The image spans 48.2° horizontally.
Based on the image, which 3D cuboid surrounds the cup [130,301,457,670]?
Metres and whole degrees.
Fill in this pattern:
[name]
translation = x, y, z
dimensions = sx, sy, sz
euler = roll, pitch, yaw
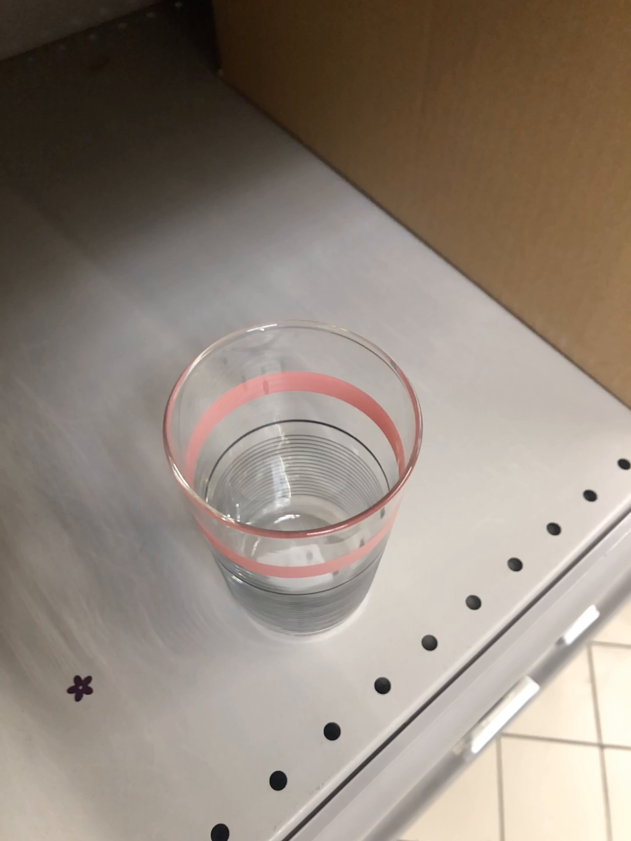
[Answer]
[cup]
translation = -0.009, 0.031, 0.243
dimensions = 0.073, 0.123, 0.064
euler = -14, 61, -10
